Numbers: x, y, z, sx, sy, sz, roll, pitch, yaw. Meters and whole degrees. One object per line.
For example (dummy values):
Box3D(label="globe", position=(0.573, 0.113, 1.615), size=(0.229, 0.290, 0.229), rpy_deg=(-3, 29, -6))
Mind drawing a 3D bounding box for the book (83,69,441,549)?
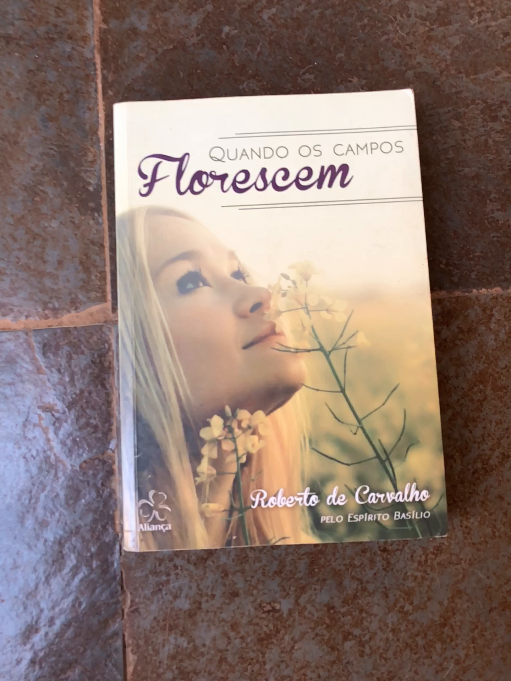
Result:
Box3D(label="book", position=(0.000, -0.018, 0.282), size=(0.161, 0.022, 0.225), rpy_deg=(-3, 85, 0))
